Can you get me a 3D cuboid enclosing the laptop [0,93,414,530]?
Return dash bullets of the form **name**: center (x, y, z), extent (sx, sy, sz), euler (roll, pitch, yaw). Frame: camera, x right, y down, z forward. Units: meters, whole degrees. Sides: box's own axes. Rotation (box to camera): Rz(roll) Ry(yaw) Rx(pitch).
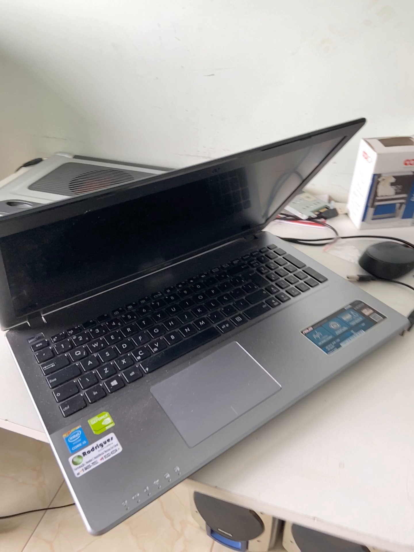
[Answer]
- **laptop**: center (-0.004, -0.023, 0.410), extent (0.365, 0.190, 0.246), euler (-23, 42, -27)
